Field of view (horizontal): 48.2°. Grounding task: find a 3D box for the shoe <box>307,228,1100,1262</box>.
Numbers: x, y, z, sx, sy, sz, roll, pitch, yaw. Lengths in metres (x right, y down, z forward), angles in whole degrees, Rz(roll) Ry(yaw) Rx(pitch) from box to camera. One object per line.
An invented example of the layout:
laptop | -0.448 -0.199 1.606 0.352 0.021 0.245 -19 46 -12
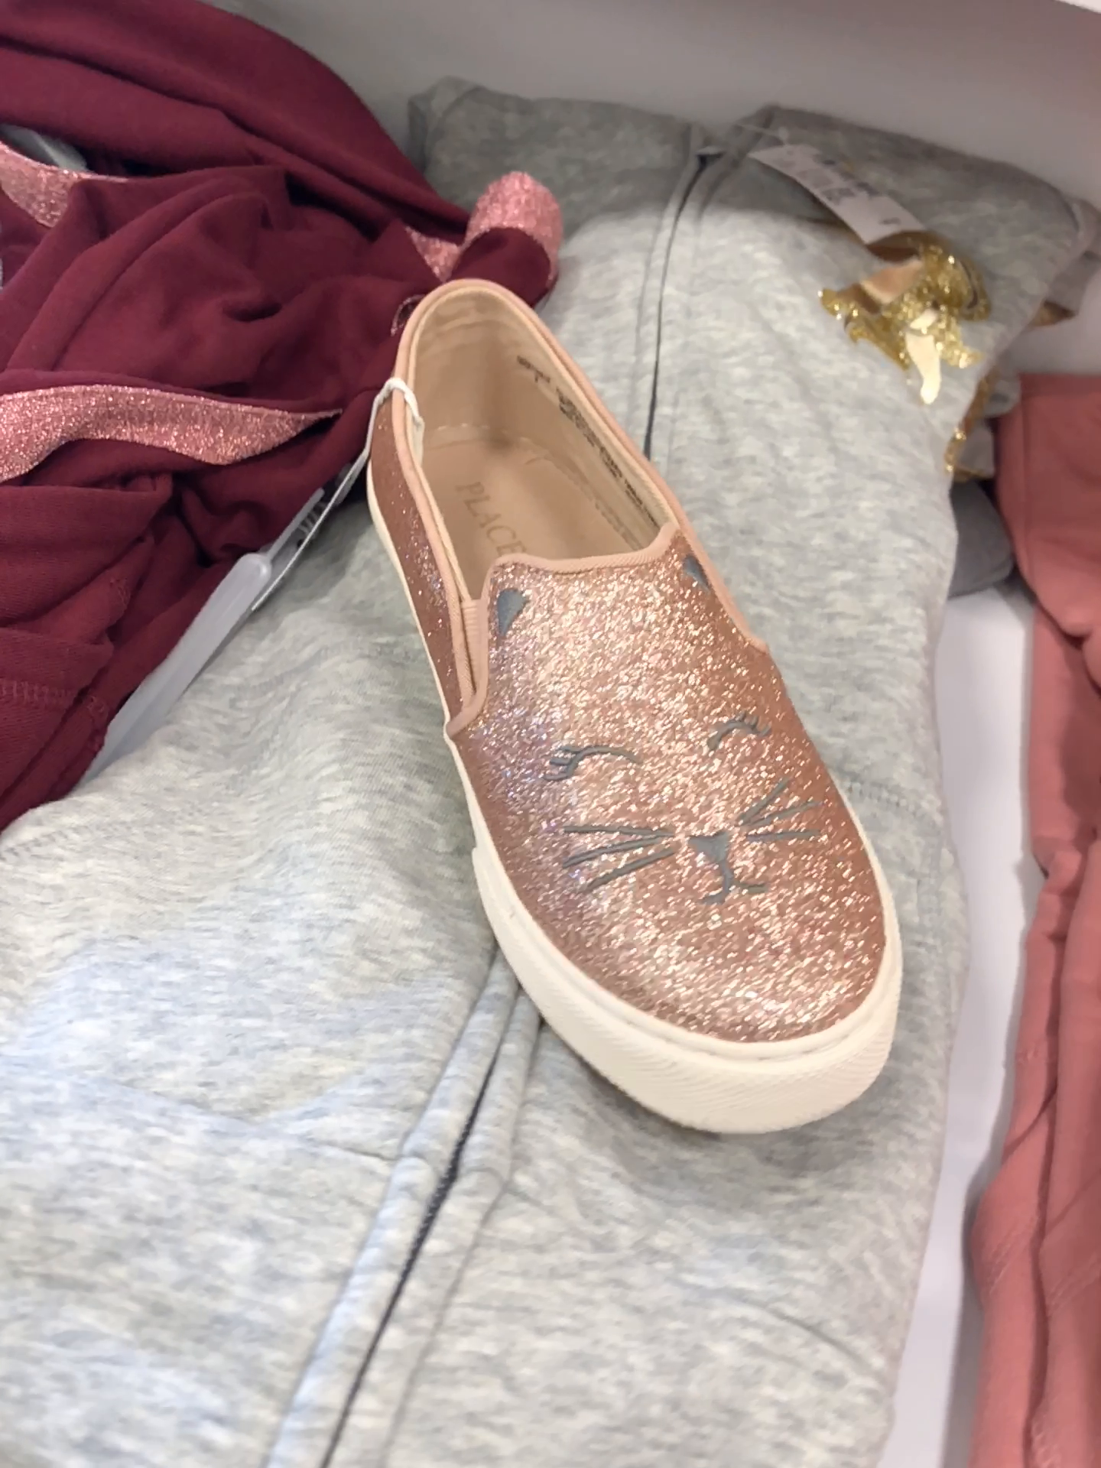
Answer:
shoe | 0.013 -0.020 0.270 0.090 0.080 0.221 -7 49 -19
